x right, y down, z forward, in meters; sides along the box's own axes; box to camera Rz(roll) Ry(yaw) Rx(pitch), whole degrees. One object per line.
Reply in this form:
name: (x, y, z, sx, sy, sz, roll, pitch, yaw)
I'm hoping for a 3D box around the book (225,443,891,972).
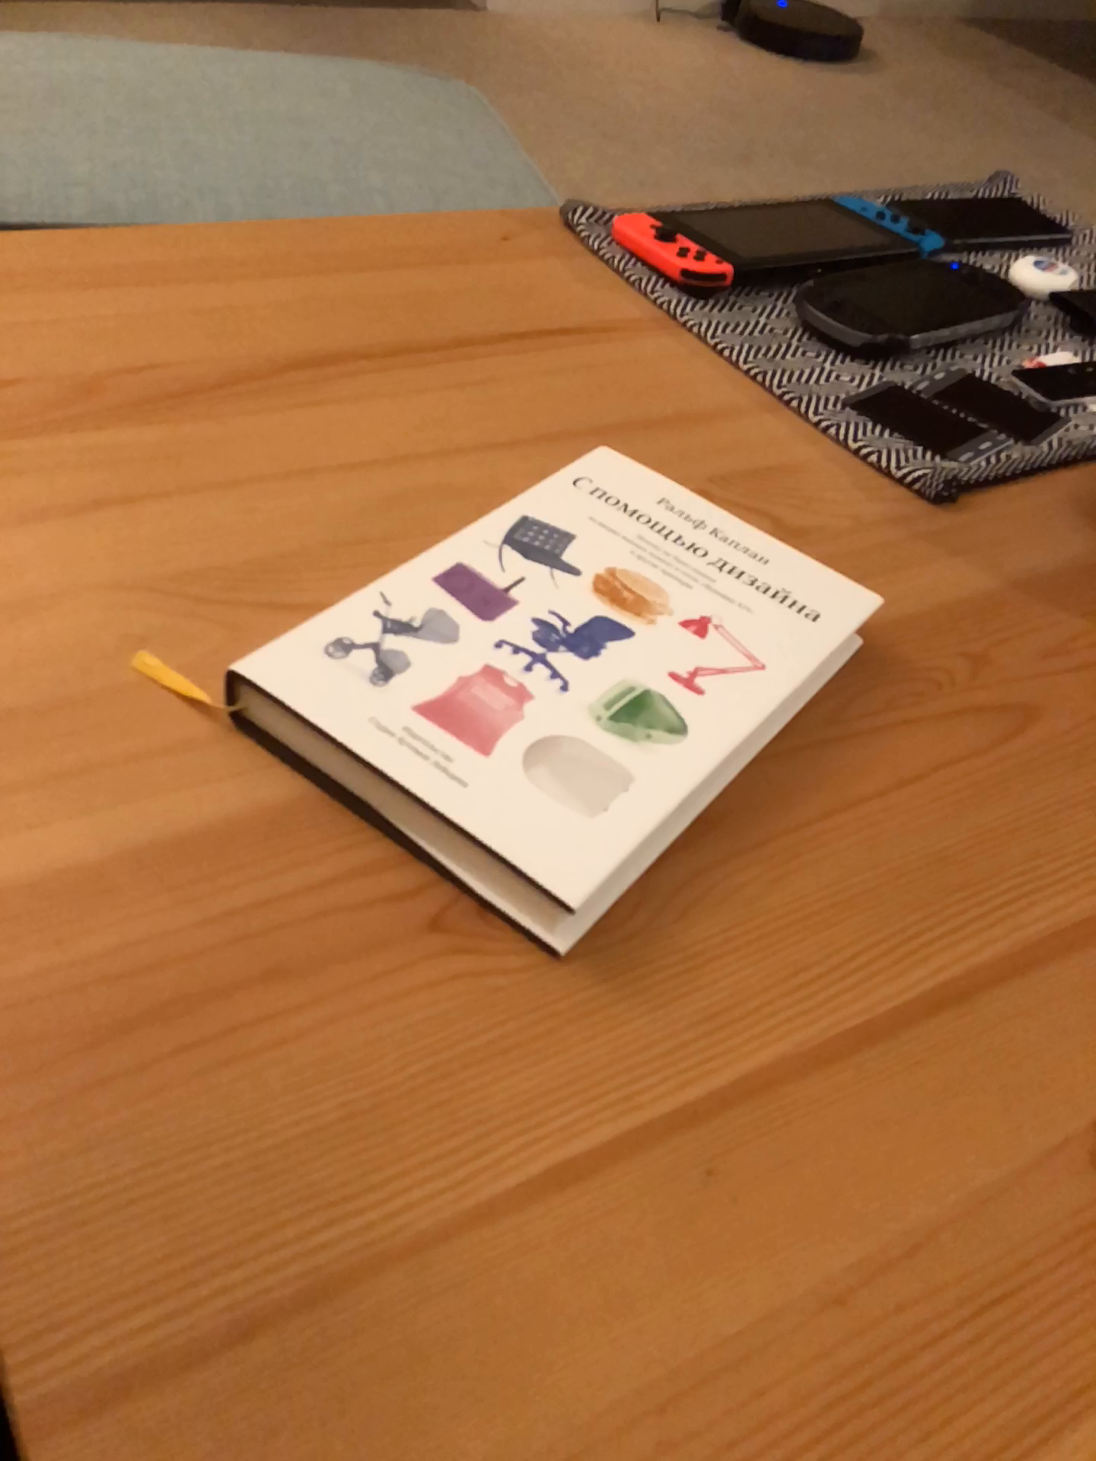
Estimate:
book: (0.014, -0.028, 0.472, 0.152, 0.034, 0.227, 33, 47, 21)
